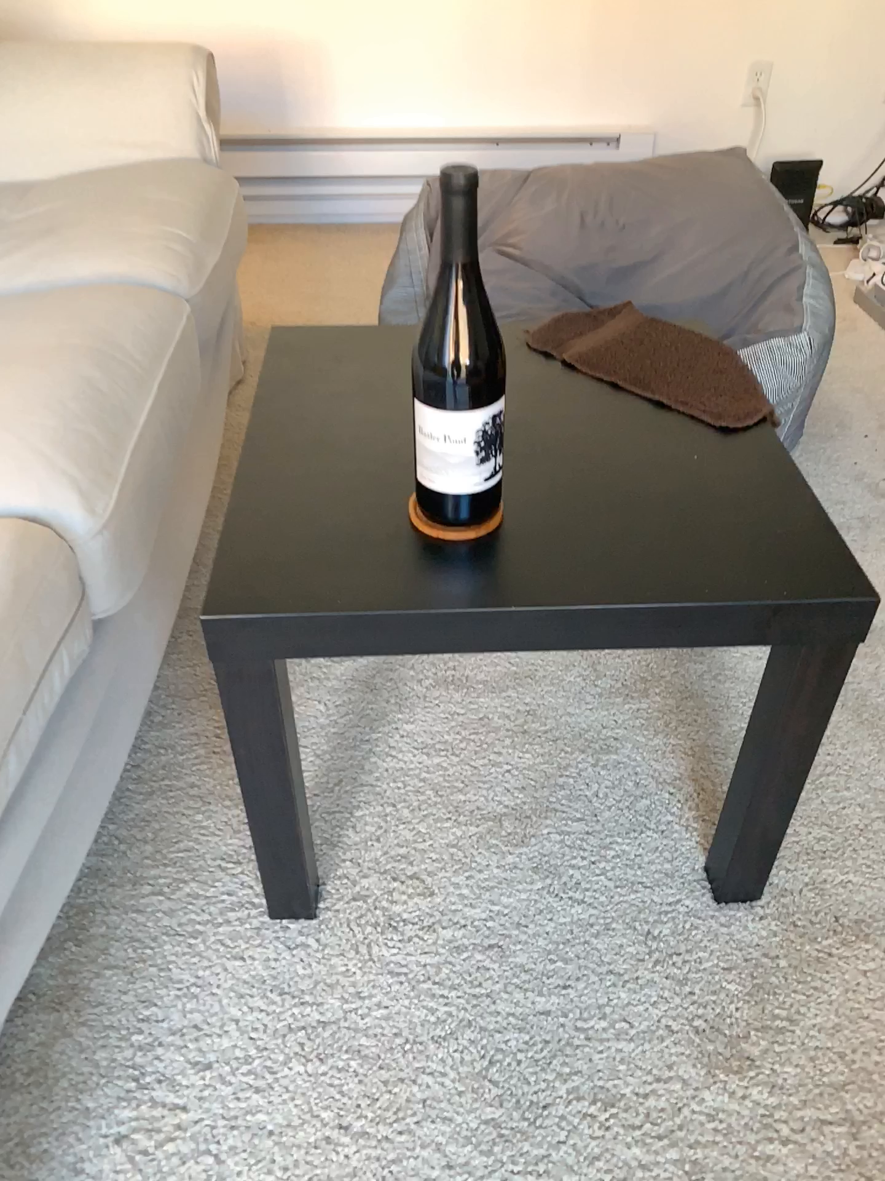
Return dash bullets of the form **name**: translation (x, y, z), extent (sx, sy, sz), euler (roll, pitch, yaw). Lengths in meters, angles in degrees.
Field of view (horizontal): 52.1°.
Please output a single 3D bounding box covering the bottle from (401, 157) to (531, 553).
- **bottle**: translation (0.013, -0.166, 0.678), extent (0.080, 0.268, 0.101), euler (1, 40, 0)
